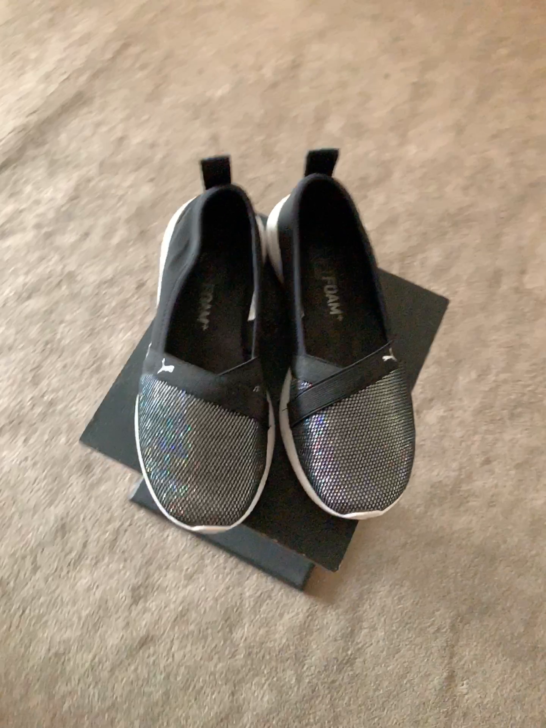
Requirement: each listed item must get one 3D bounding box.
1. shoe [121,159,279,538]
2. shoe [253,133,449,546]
[{"bbox_3d":[-0.046,-0.010,0.395,0.090,0.080,0.240,2,82,-3],"label":"shoe"},{"bbox_3d":[0.047,-0.018,0.400,0.090,0.080,0.260,-6,84,-6],"label":"shoe"}]
